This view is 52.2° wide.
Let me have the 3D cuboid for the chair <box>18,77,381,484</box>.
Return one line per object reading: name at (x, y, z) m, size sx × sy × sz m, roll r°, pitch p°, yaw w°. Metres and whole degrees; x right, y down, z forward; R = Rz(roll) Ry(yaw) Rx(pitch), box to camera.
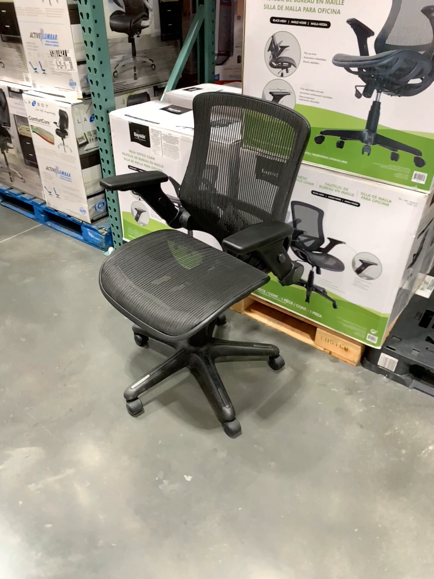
chair at (-0.046, -0.086, 1.505) m, size 0.737 × 0.987 × 0.677 m, roll -30°, pitch 45°, yaw -36°
